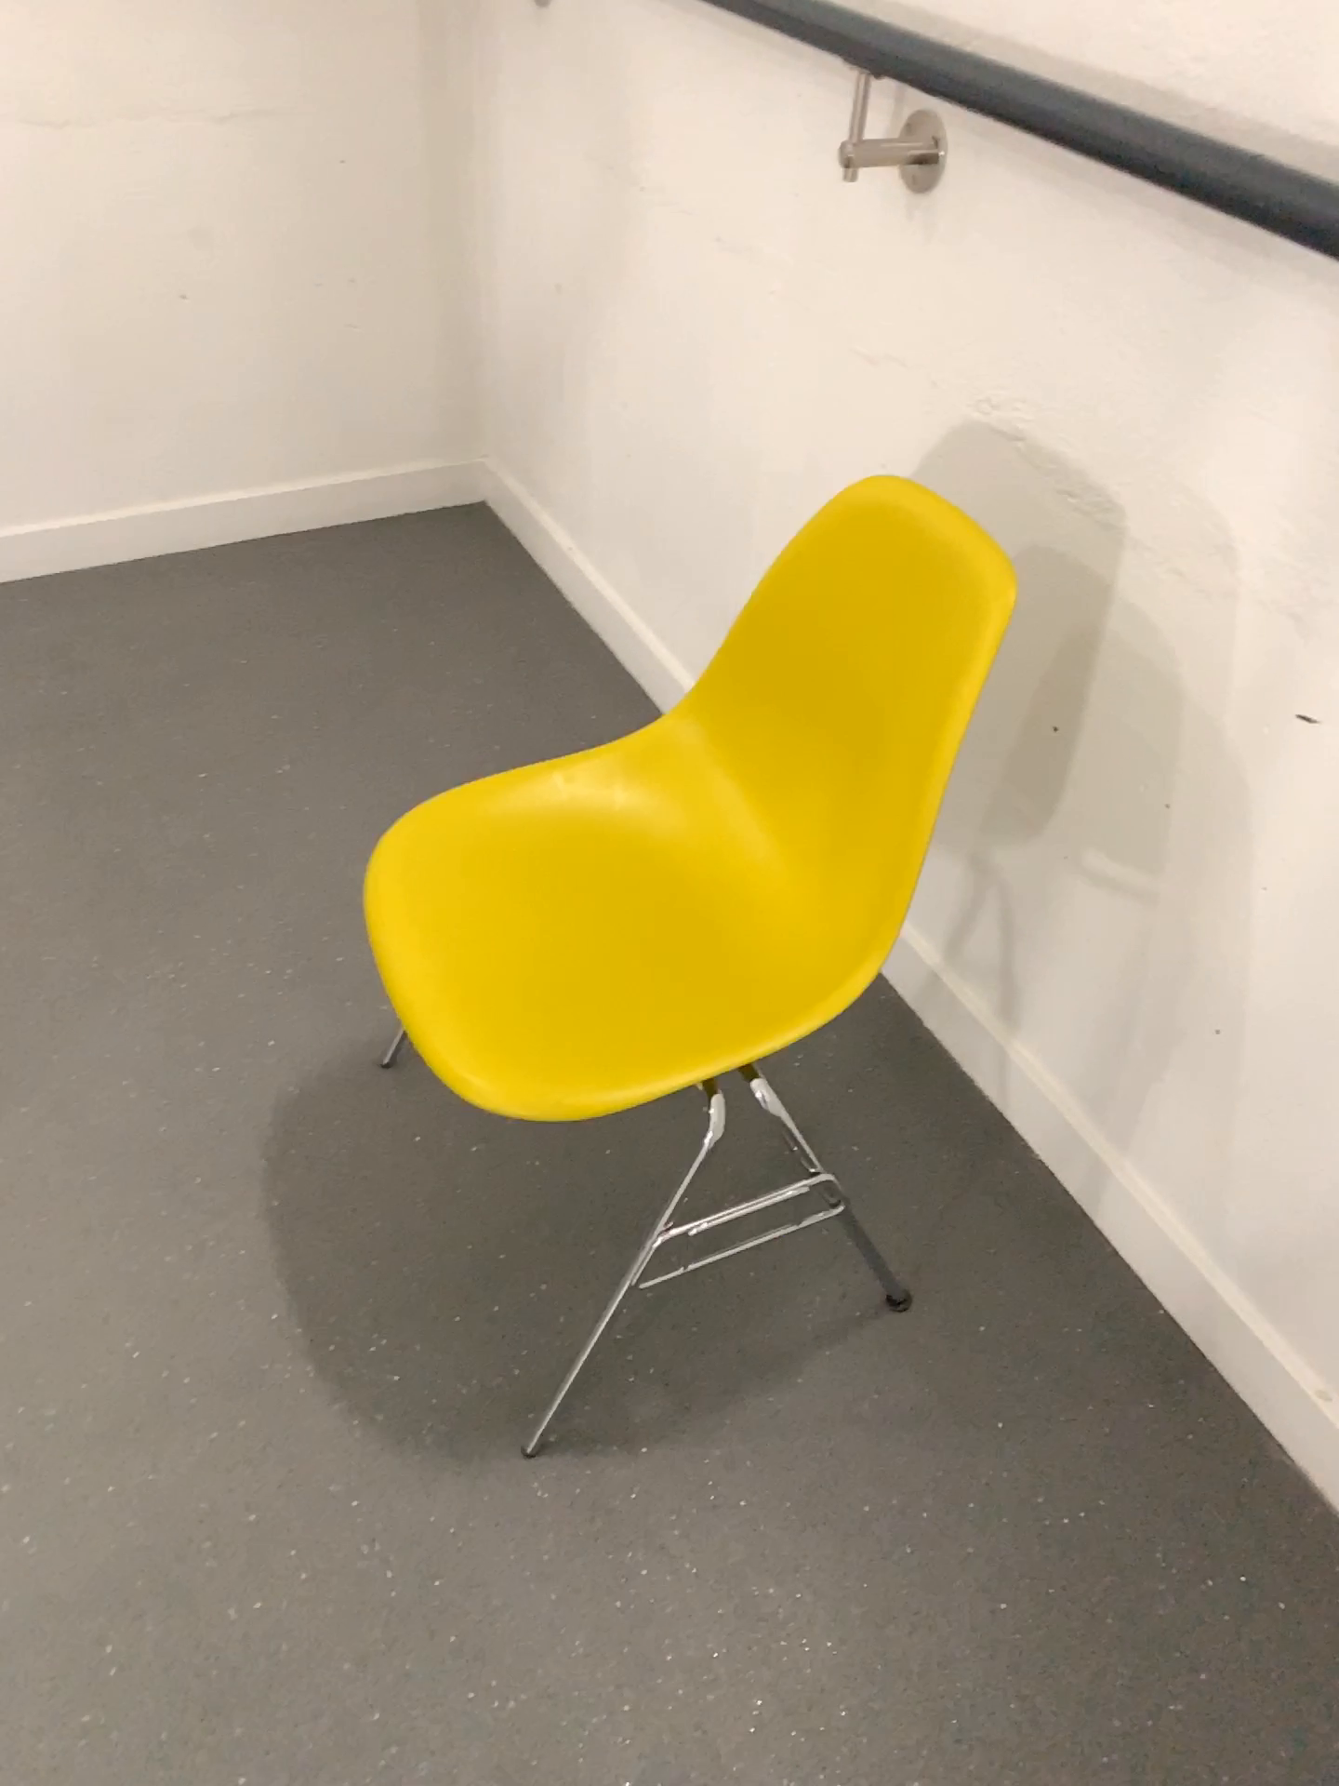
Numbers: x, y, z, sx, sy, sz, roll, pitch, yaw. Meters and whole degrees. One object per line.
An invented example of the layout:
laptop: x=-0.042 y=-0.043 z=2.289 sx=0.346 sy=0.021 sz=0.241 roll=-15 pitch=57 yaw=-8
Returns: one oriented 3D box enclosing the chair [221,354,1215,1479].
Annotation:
chair: x=-0.026 y=-0.005 z=1.295 sx=0.561 sy=0.733 sz=0.625 roll=-14 pitch=44 yaw=-20
